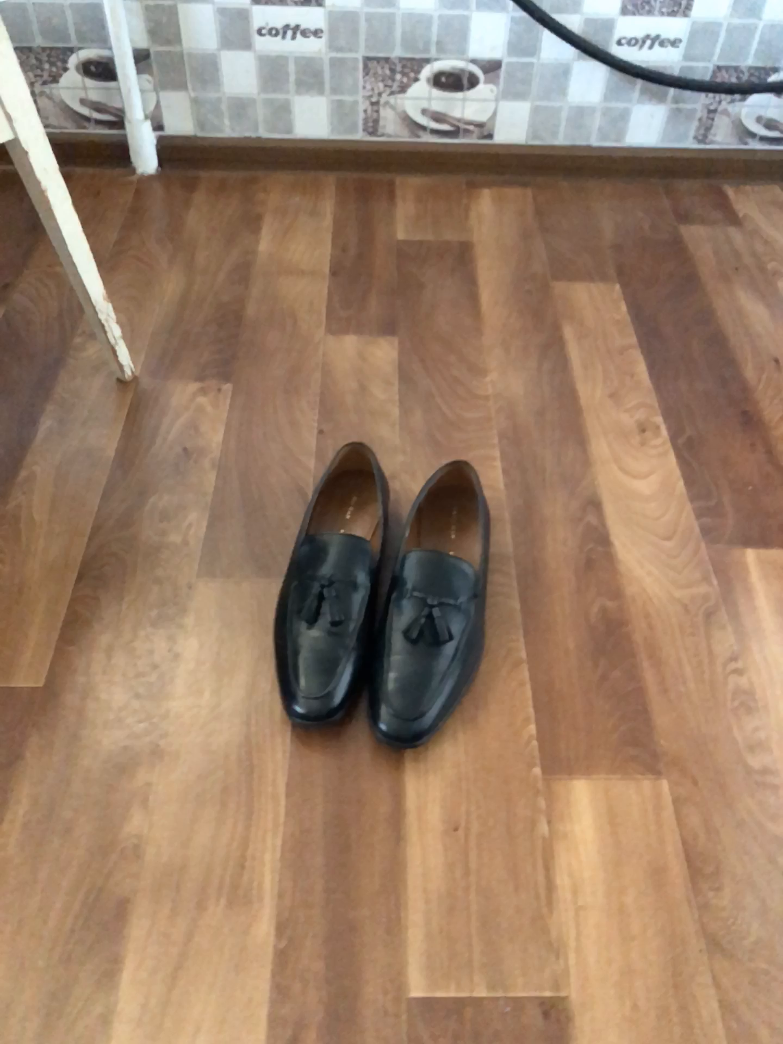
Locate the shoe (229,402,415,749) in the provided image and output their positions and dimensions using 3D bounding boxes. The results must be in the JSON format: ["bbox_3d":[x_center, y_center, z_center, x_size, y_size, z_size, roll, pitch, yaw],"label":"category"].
[{"bbox_3d":[-0.052,0.037,0.795,0.110,0.119,0.302,6,48,4],"label":"shoe"}]

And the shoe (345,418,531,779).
[{"bbox_3d":[0.048,0.056,0.780,0.110,0.119,0.302,10,48,7],"label":"shoe"}]
